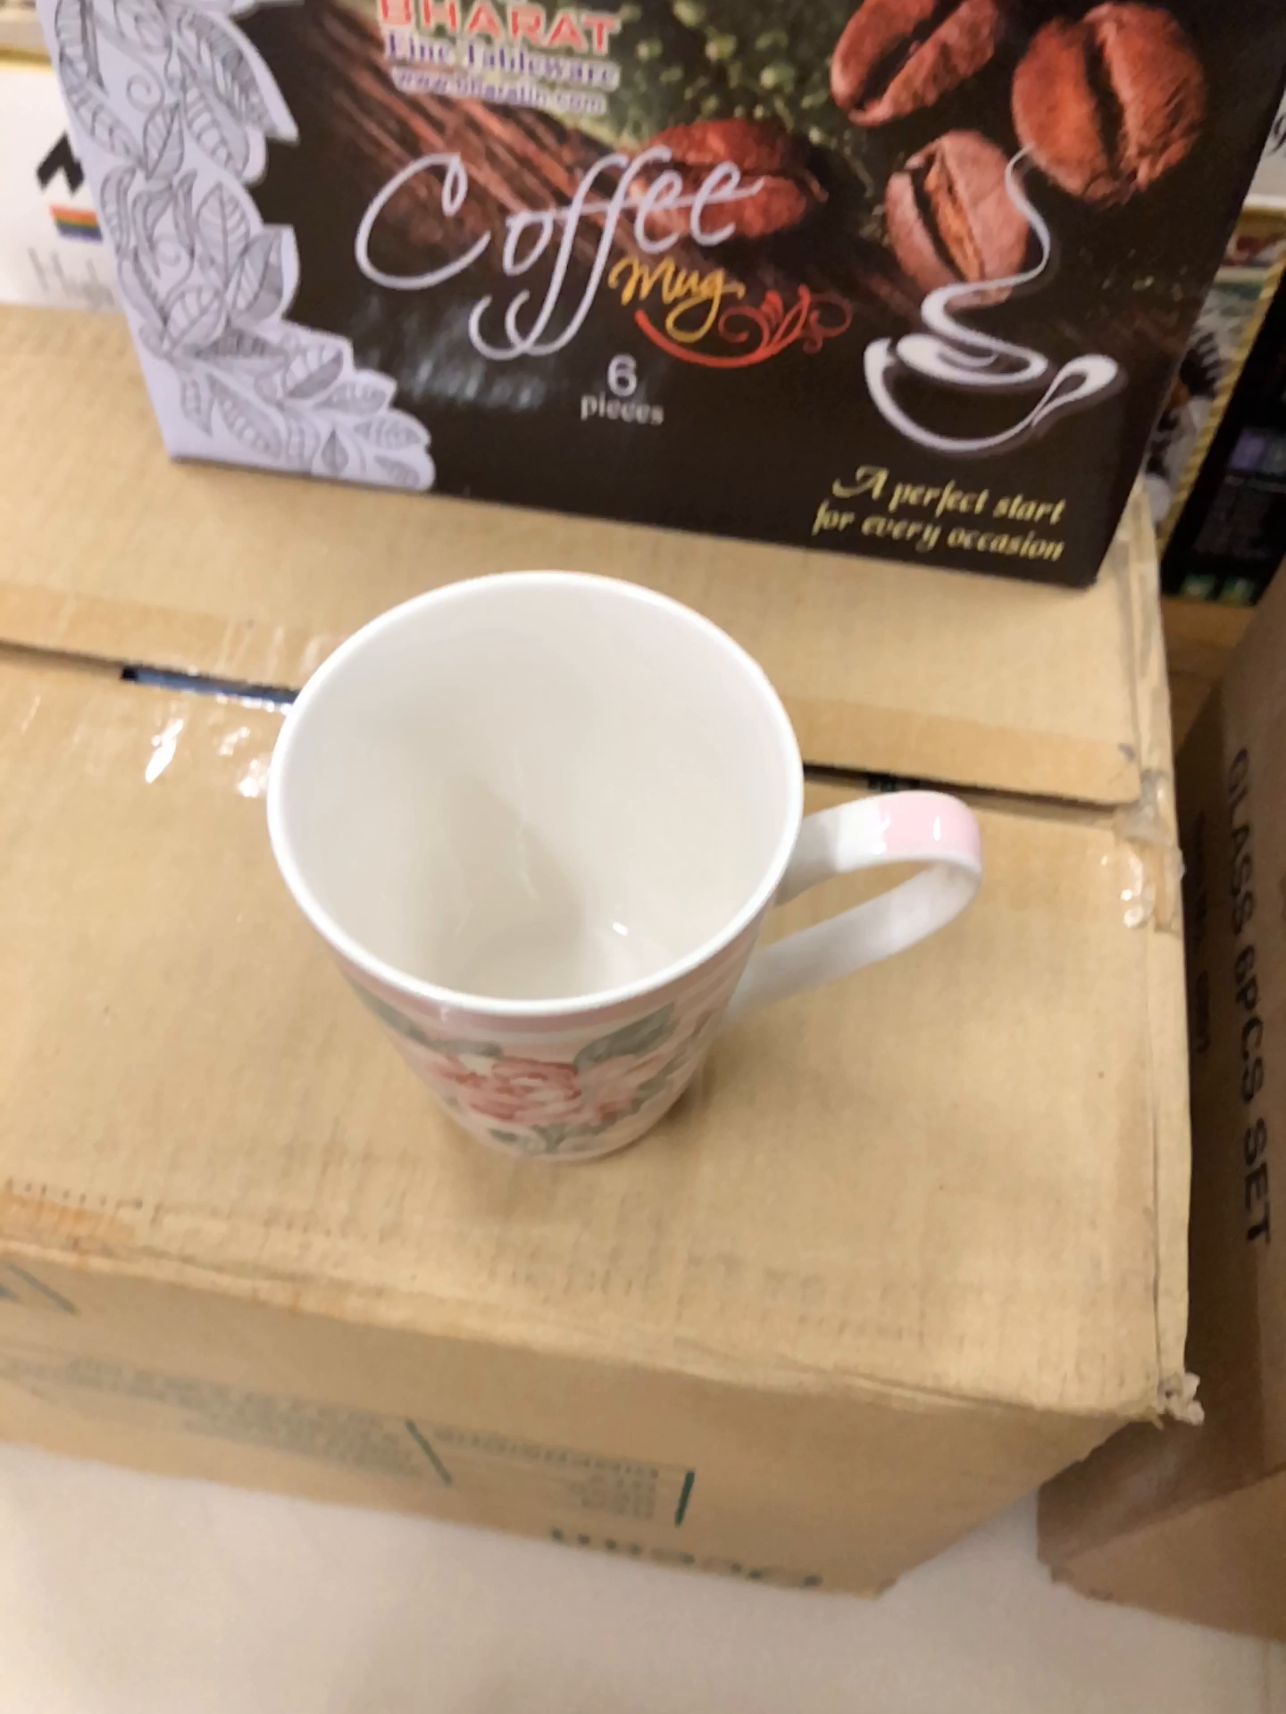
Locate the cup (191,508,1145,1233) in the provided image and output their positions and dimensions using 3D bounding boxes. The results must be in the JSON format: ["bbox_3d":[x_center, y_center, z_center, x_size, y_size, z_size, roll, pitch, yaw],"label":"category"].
[{"bbox_3d":[0.005,0.006,0.258,0.130,0.090,0.090,3,58,1],"label":"cup"}]
